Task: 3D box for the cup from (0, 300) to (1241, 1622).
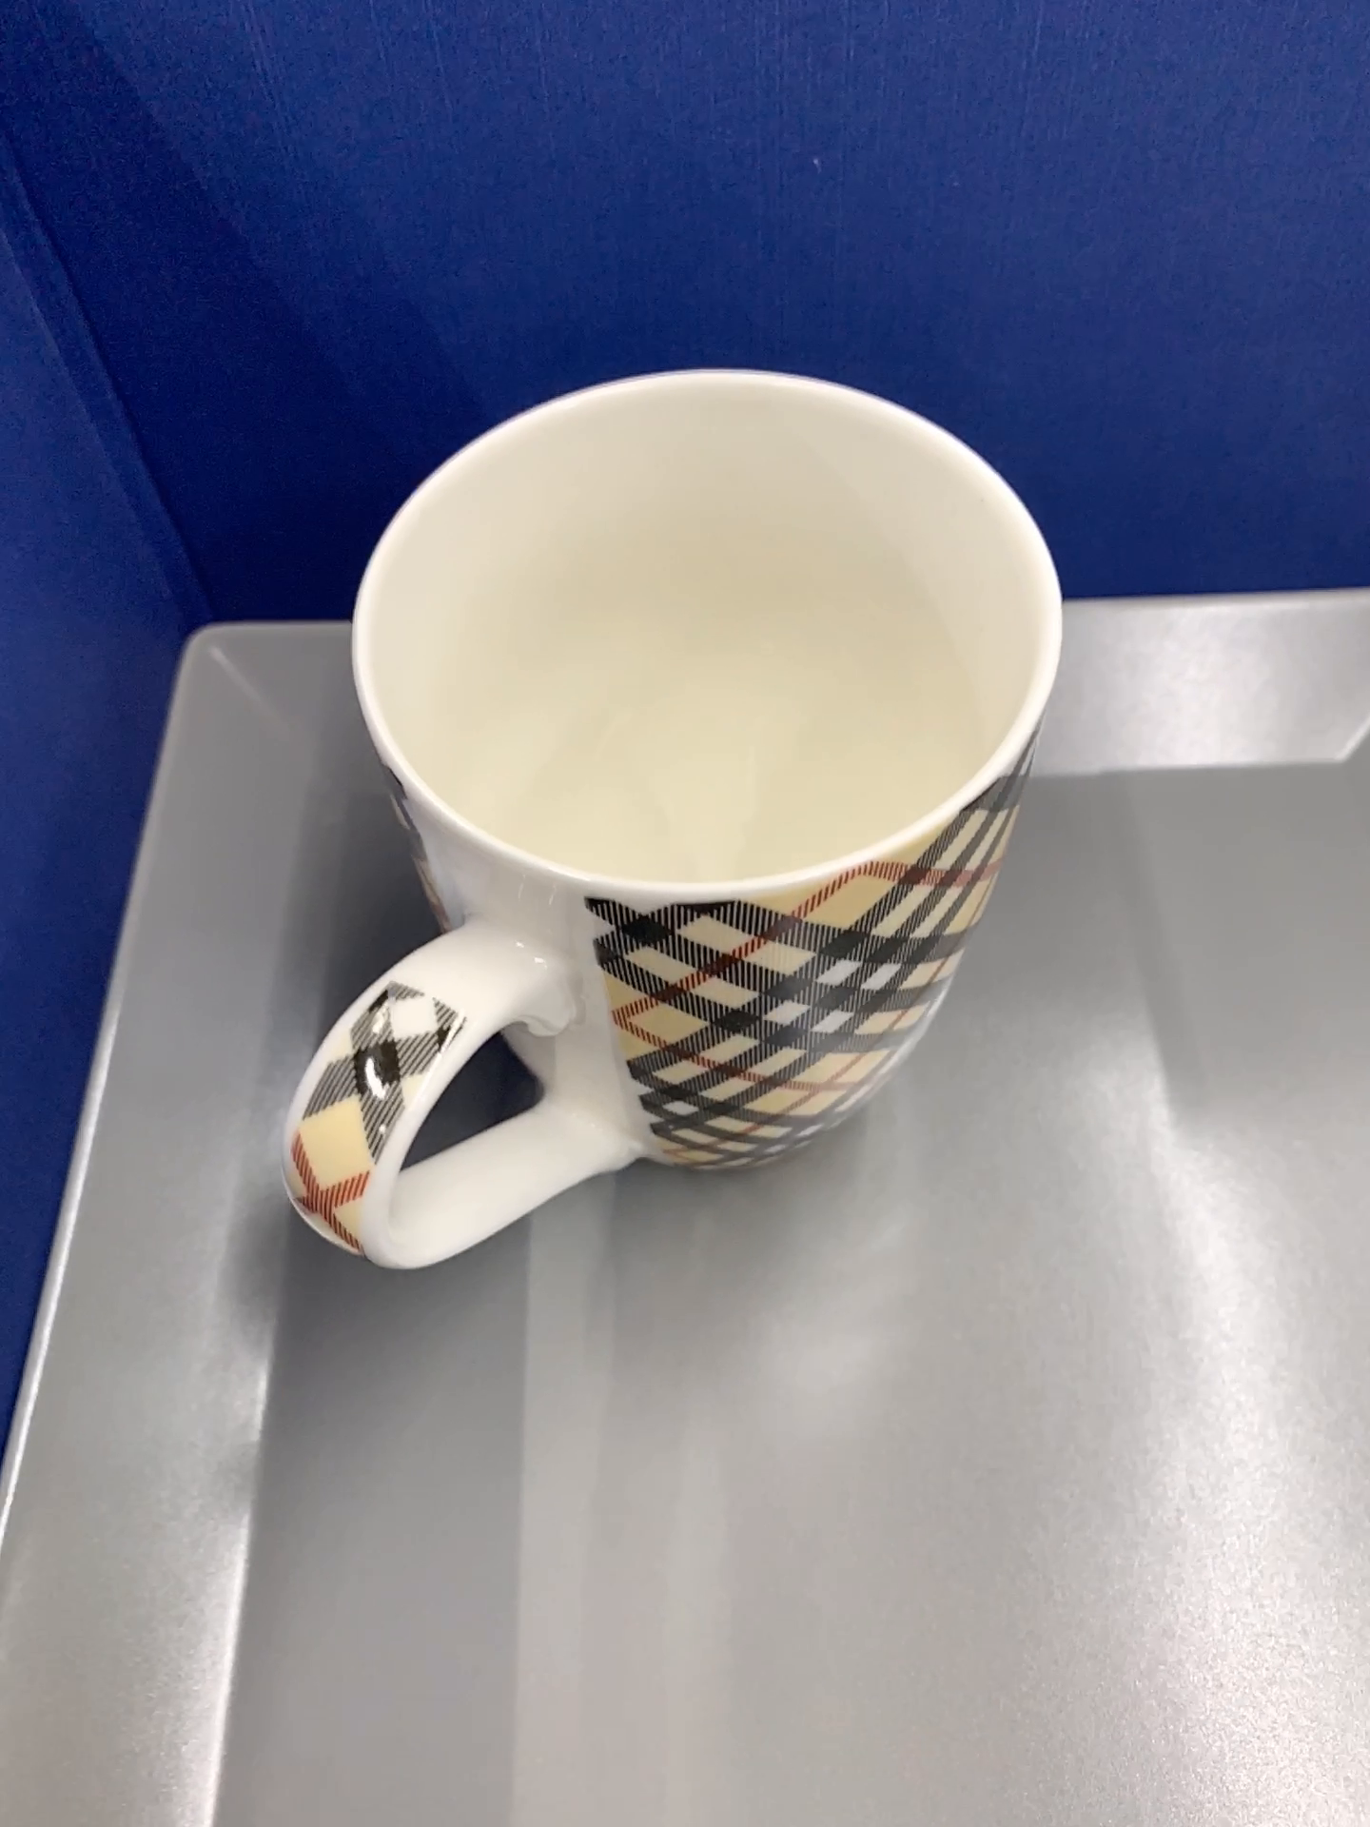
[{"bbox_3d":[-0.005,0.006,0.199,0.091,0.104,0.121,30,62,23],"label":"cup"}]
